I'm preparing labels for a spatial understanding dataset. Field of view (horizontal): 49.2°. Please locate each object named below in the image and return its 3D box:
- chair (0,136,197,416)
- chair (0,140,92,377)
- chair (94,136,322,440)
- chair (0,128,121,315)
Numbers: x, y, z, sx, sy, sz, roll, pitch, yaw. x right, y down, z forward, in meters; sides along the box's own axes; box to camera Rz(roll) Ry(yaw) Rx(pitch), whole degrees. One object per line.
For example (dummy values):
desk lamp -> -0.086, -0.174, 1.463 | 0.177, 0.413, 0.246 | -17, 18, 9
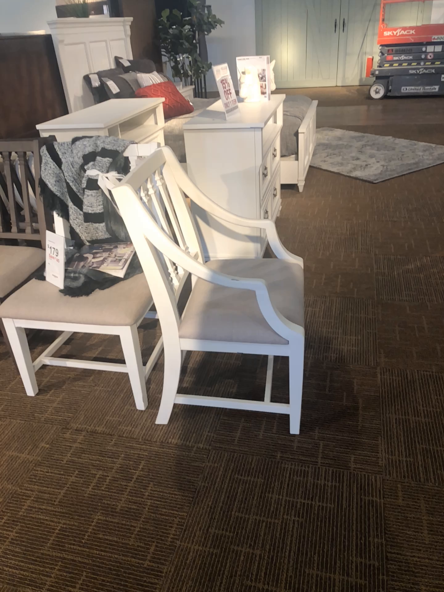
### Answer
chair -> -0.497, -0.113, 1.934 | 0.560, 0.885, 0.643 | 3, 29, 14
chair -> -1.126, -0.193, 2.229 | 0.680, 0.885, 0.583 | 3, 29, 14
chair -> 0.035, -0.061, 1.797 | 0.630, 0.885, 0.653 | 2, 29, 11
chair -> -1.187, -0.456, 2.835 | 0.870, 0.885, 0.603 | 3, 29, 14
